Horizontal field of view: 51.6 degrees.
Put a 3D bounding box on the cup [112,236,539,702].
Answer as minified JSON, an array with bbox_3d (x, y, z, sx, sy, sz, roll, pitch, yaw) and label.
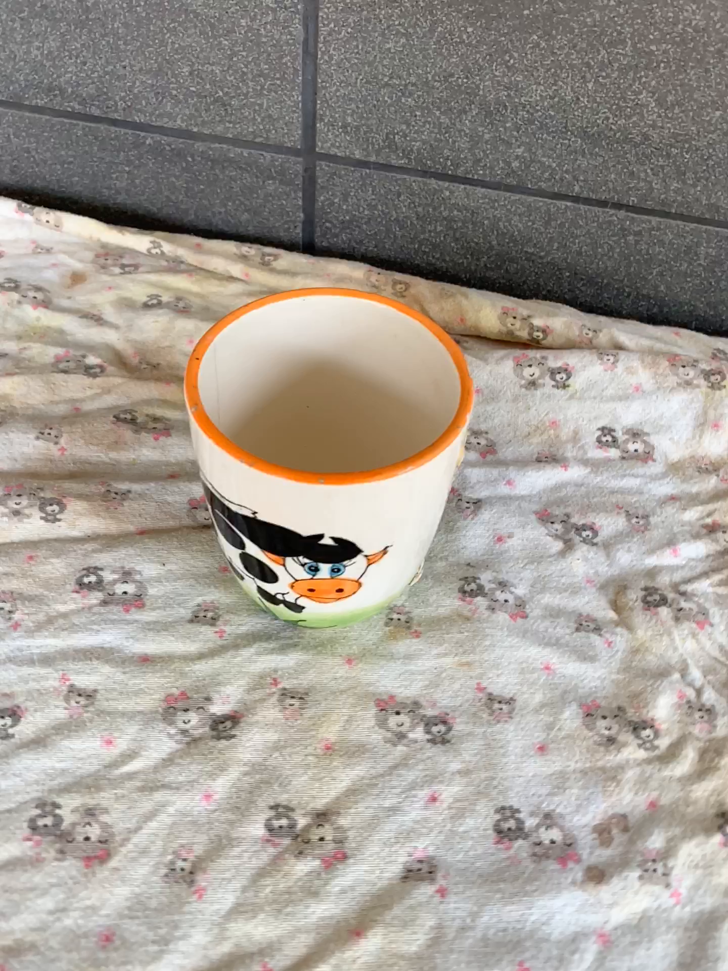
[{"bbox_3d":[-0.010,-0.005,0.232,0.080,0.090,0.080,2,50,-3],"label":"cup"}]
